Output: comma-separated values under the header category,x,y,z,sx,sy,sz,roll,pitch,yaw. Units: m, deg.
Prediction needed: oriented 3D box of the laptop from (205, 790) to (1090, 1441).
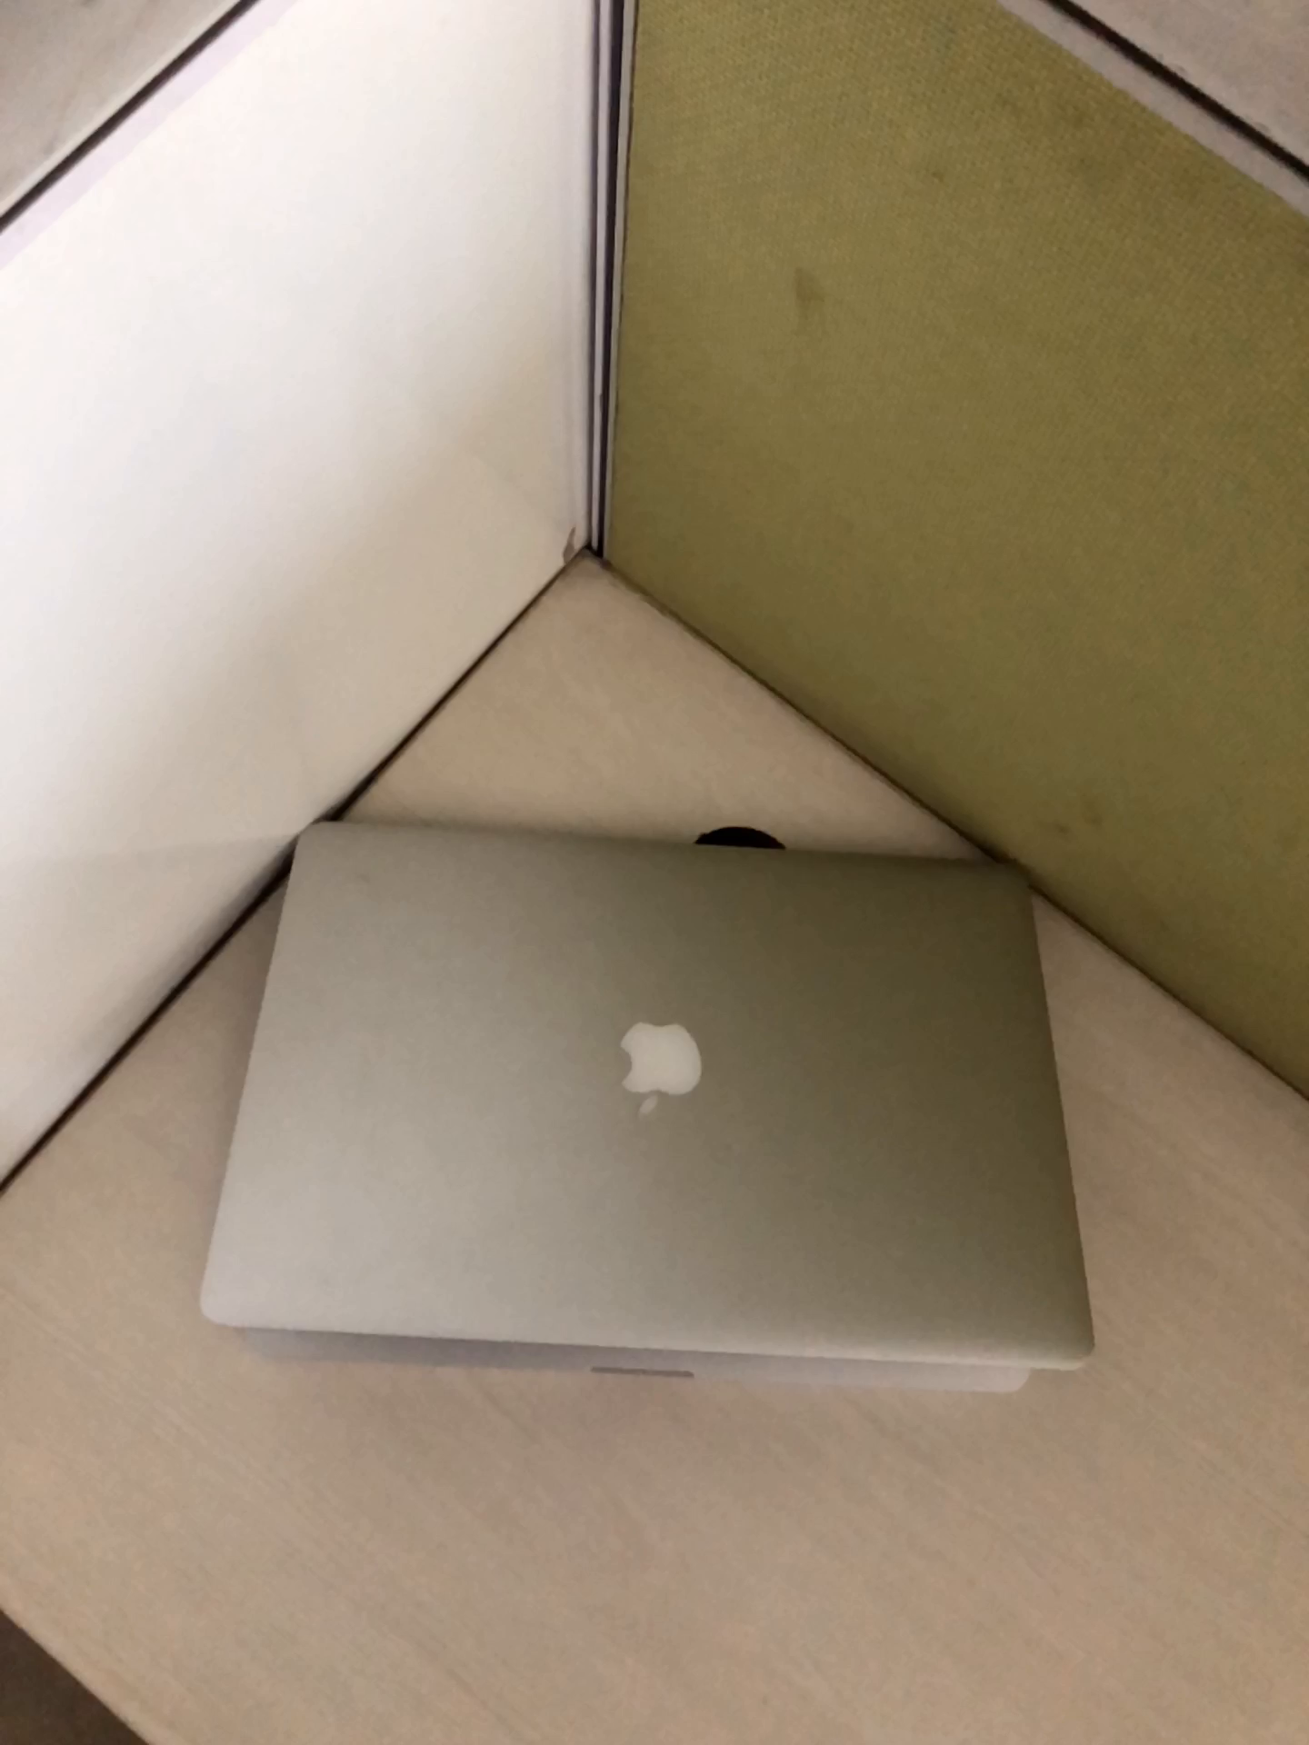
category,x,y,z,sx,sy,sz,roll,pitch,yaw
laptop,0.003,0.103,0.628,0.343,0.084,0.243,3,76,-2
